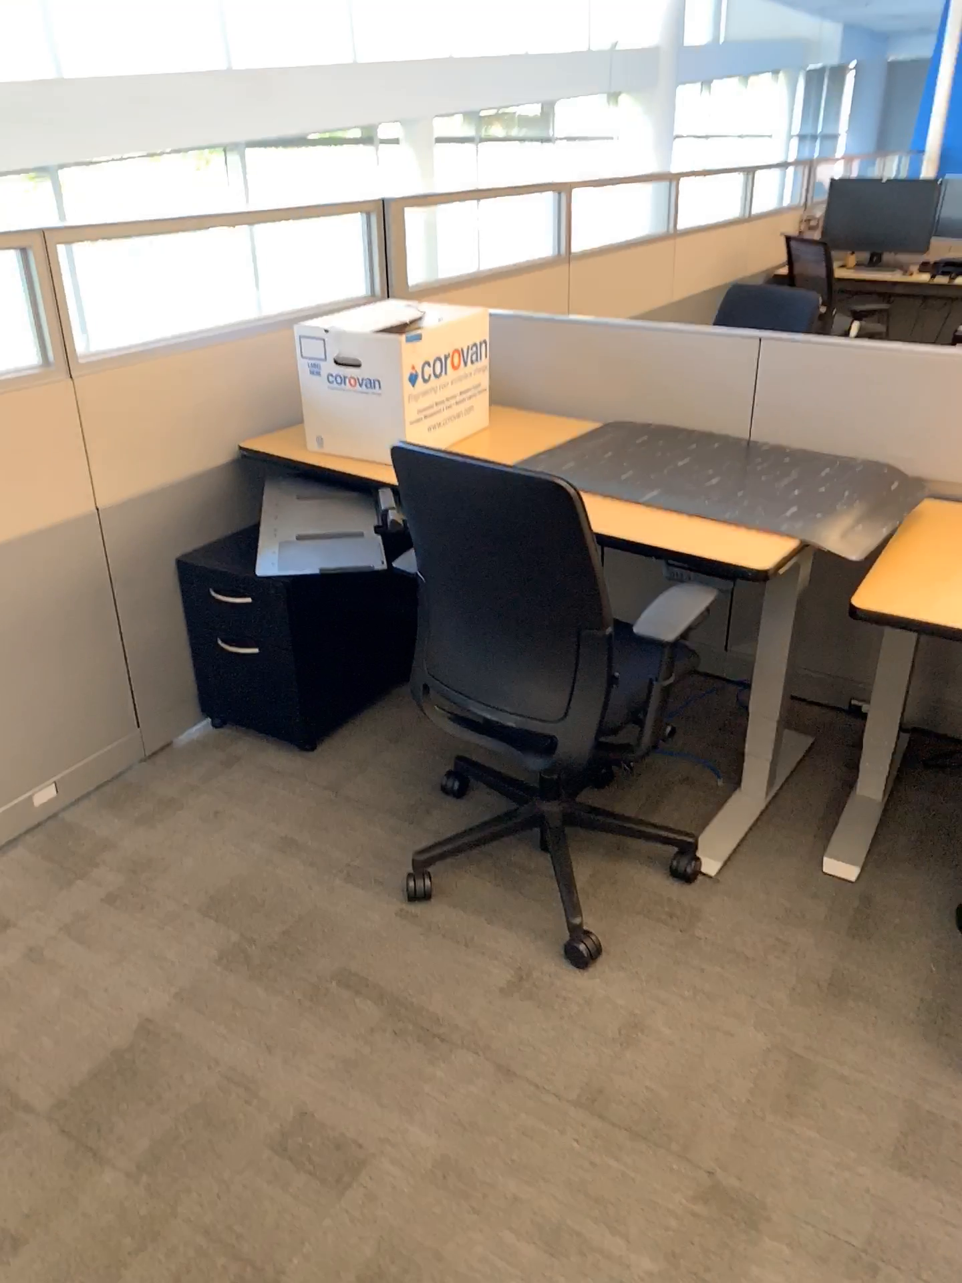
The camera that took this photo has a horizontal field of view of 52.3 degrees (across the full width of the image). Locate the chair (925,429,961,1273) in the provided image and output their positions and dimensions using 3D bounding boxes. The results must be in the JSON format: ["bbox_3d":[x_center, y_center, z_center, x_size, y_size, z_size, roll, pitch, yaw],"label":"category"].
[{"bbox_3d":[1.103,0.269,1.499,0.521,0.994,0.582,15,31,27],"label":"chair"}]

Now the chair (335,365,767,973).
[{"bbox_3d":[0.144,0.014,2.055,0.562,0.994,0.601,20,34,35],"label":"chair"}]
